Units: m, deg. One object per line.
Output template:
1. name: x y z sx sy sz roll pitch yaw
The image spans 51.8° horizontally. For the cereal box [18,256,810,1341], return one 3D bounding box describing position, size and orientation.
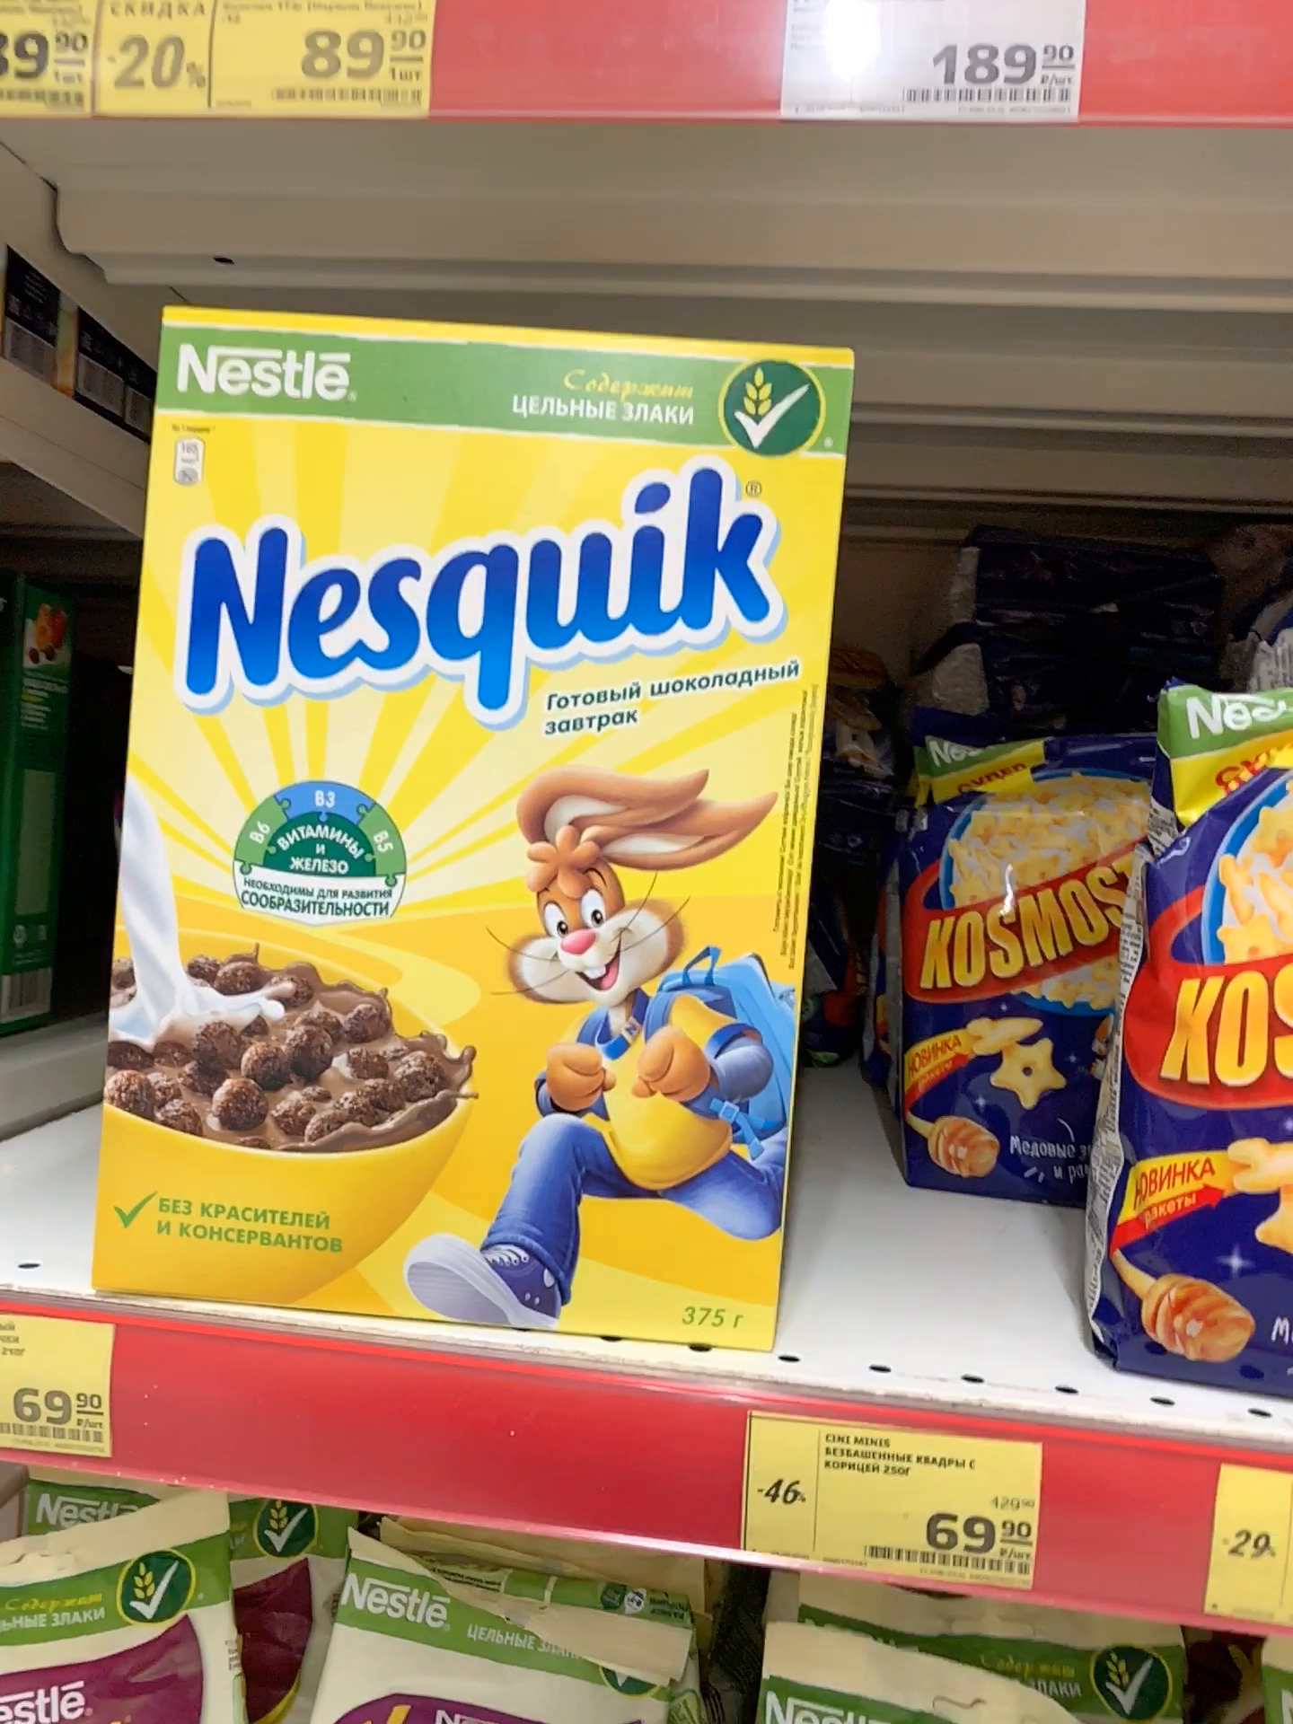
1. cereal box: -0.061 -0.018 0.377 0.190 0.270 0.060 4 1 2
